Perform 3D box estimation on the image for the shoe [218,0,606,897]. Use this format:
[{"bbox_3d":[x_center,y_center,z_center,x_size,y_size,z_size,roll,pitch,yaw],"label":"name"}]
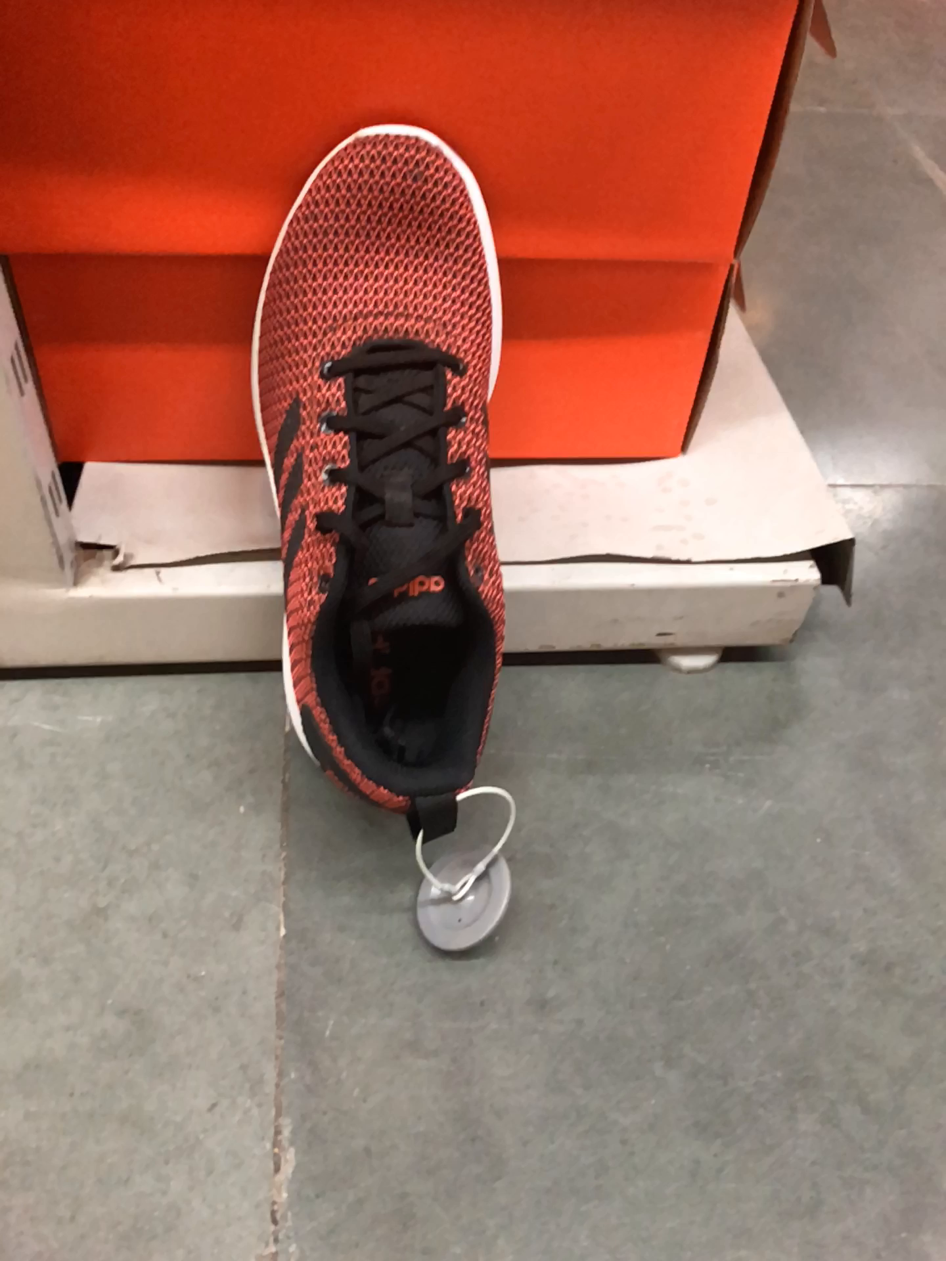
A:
[{"bbox_3d":[-0.030,-0.059,0.390,0.110,0.271,0.133,0,13,-9],"label":"shoe"}]
